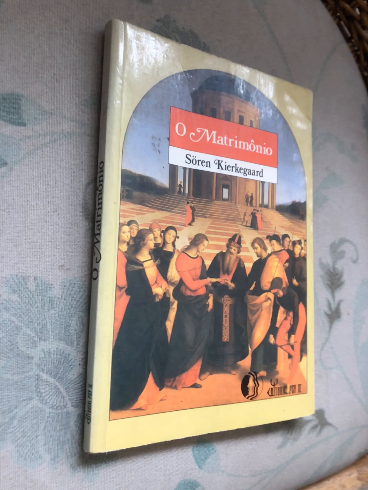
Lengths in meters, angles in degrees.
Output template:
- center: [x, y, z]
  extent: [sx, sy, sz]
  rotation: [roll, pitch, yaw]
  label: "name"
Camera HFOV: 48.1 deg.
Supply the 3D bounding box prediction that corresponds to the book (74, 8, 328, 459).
- center: [0.020, -0.004, 0.224]
  extent: [0.141, 0.020, 0.200]
  rotation: [6, 84, -29]
  label: "book"
